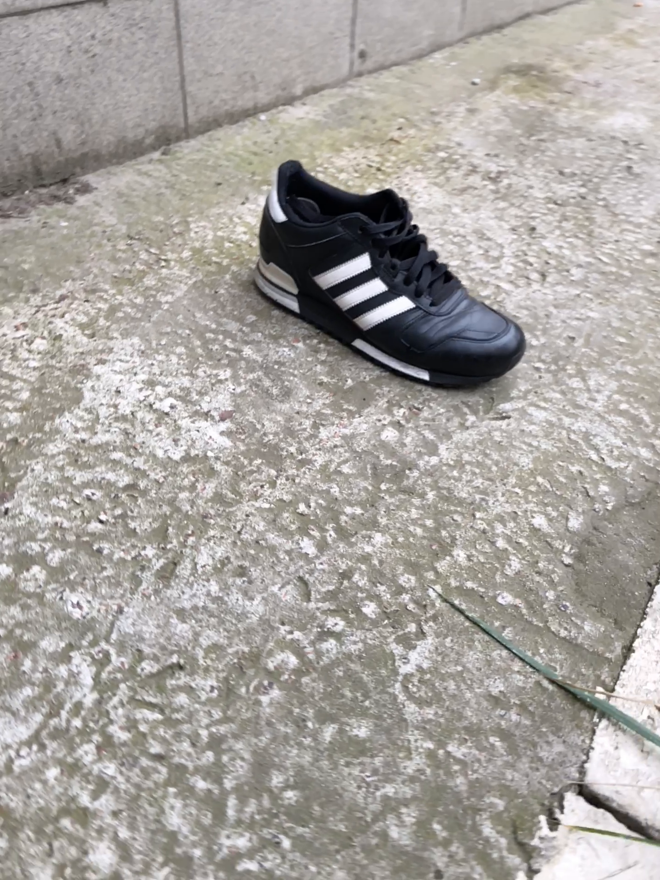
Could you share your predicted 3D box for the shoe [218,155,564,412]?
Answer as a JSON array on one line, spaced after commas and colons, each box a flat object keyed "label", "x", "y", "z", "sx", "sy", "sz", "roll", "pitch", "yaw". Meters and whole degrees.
[{"label": "shoe", "x": 0.043, "y": -0.149, "z": 0.653, "sx": 0.280, "sy": 0.119, "sz": 0.101, "roll": 24, "pitch": 44, "yaw": 22}]
